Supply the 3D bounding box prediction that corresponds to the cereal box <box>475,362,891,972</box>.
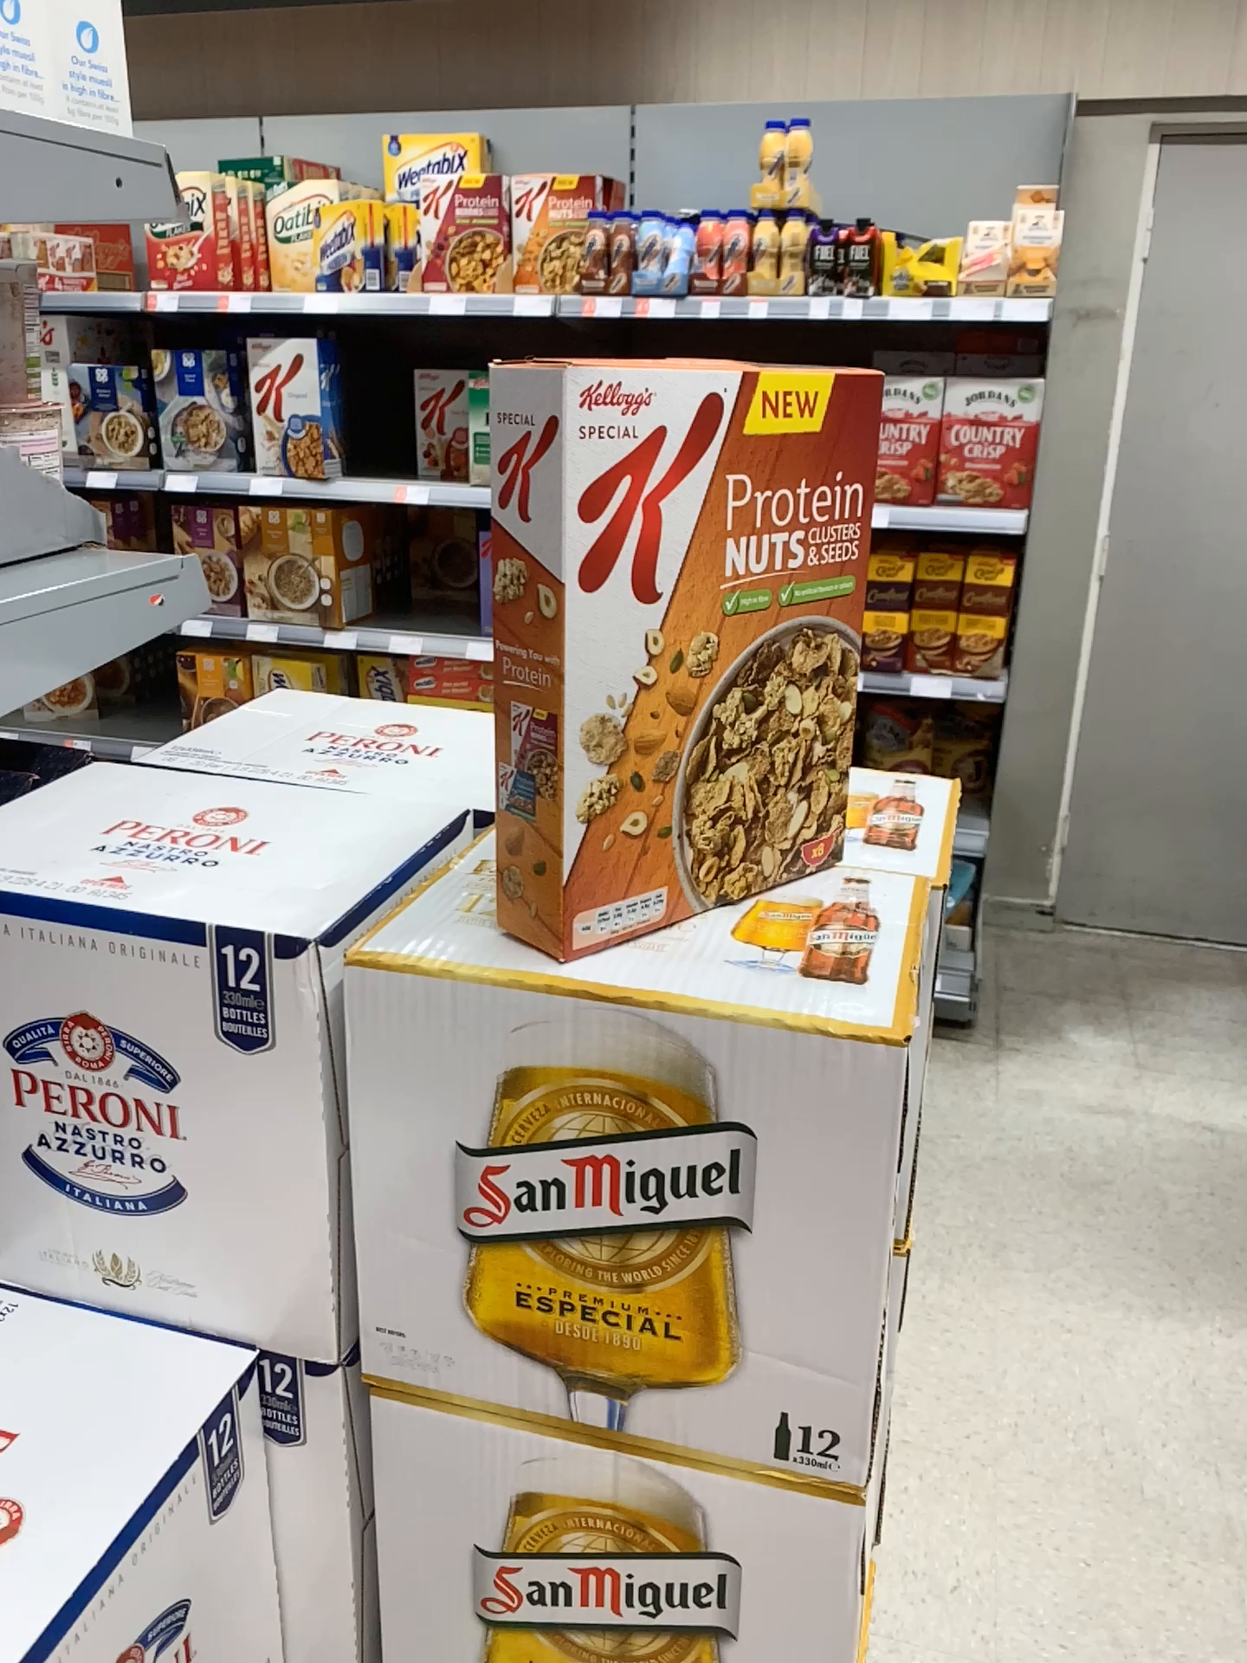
[{"bbox_3d":[0.030,-0.081,0.569,0.191,0.238,0.050,-16,25,-38],"label":"cereal box"}]
